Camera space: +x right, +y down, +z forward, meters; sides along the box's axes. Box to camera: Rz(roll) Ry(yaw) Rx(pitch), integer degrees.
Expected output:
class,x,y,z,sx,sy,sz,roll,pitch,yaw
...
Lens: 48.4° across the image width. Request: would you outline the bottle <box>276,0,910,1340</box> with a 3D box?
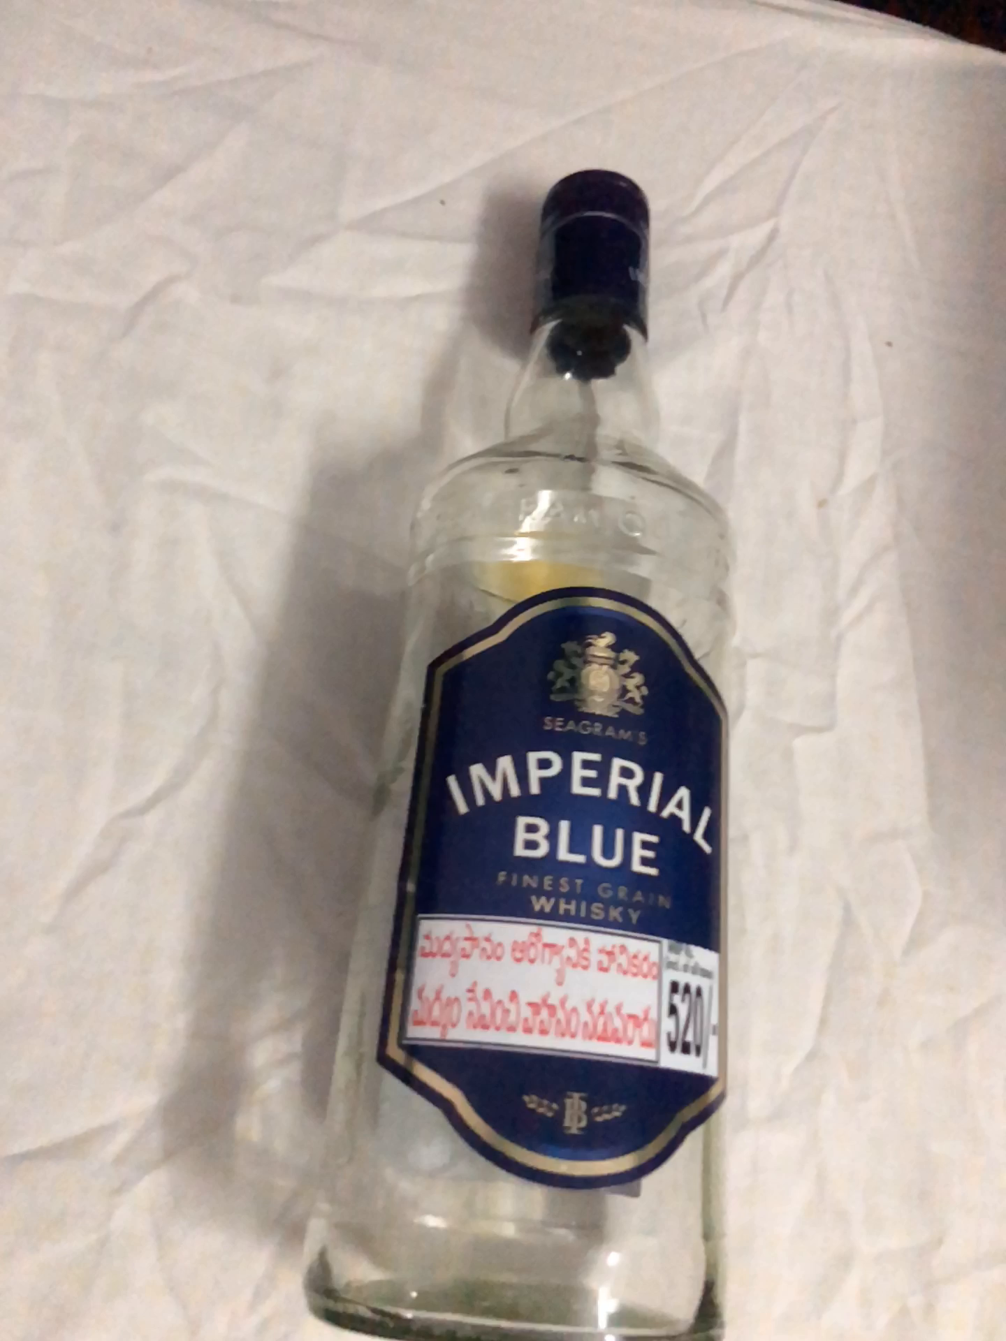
class,x,y,z,sx,sy,sz,roll,pitch,yaw
bottle,0.022,0.003,0.237,0.090,0.080,0.270,9,74,-7
